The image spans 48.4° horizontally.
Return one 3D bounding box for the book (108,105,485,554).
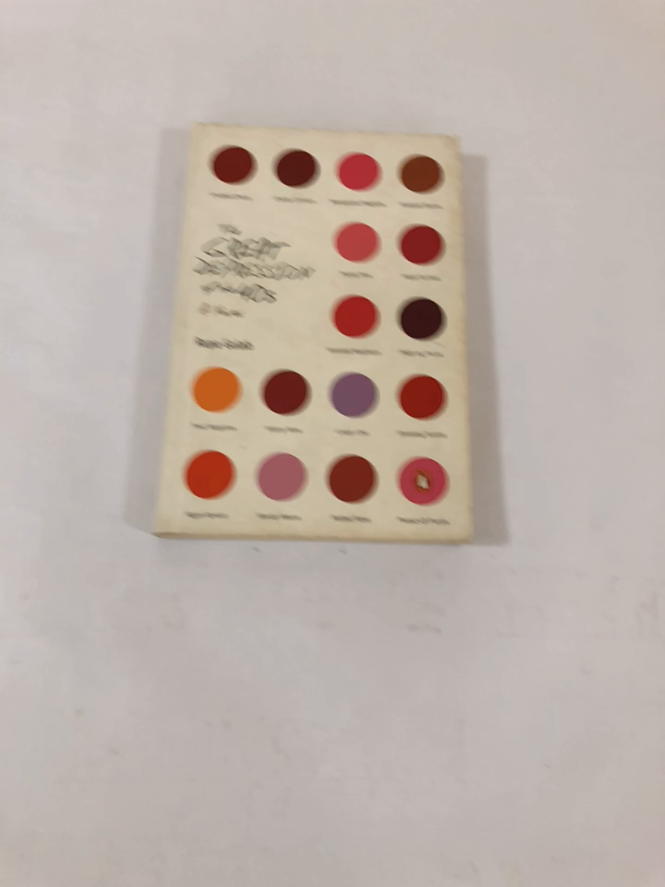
[{"bbox_3d":[-0.011,-0.052,0.317,0.140,0.030,0.190,2,73,-2],"label":"book"}]
